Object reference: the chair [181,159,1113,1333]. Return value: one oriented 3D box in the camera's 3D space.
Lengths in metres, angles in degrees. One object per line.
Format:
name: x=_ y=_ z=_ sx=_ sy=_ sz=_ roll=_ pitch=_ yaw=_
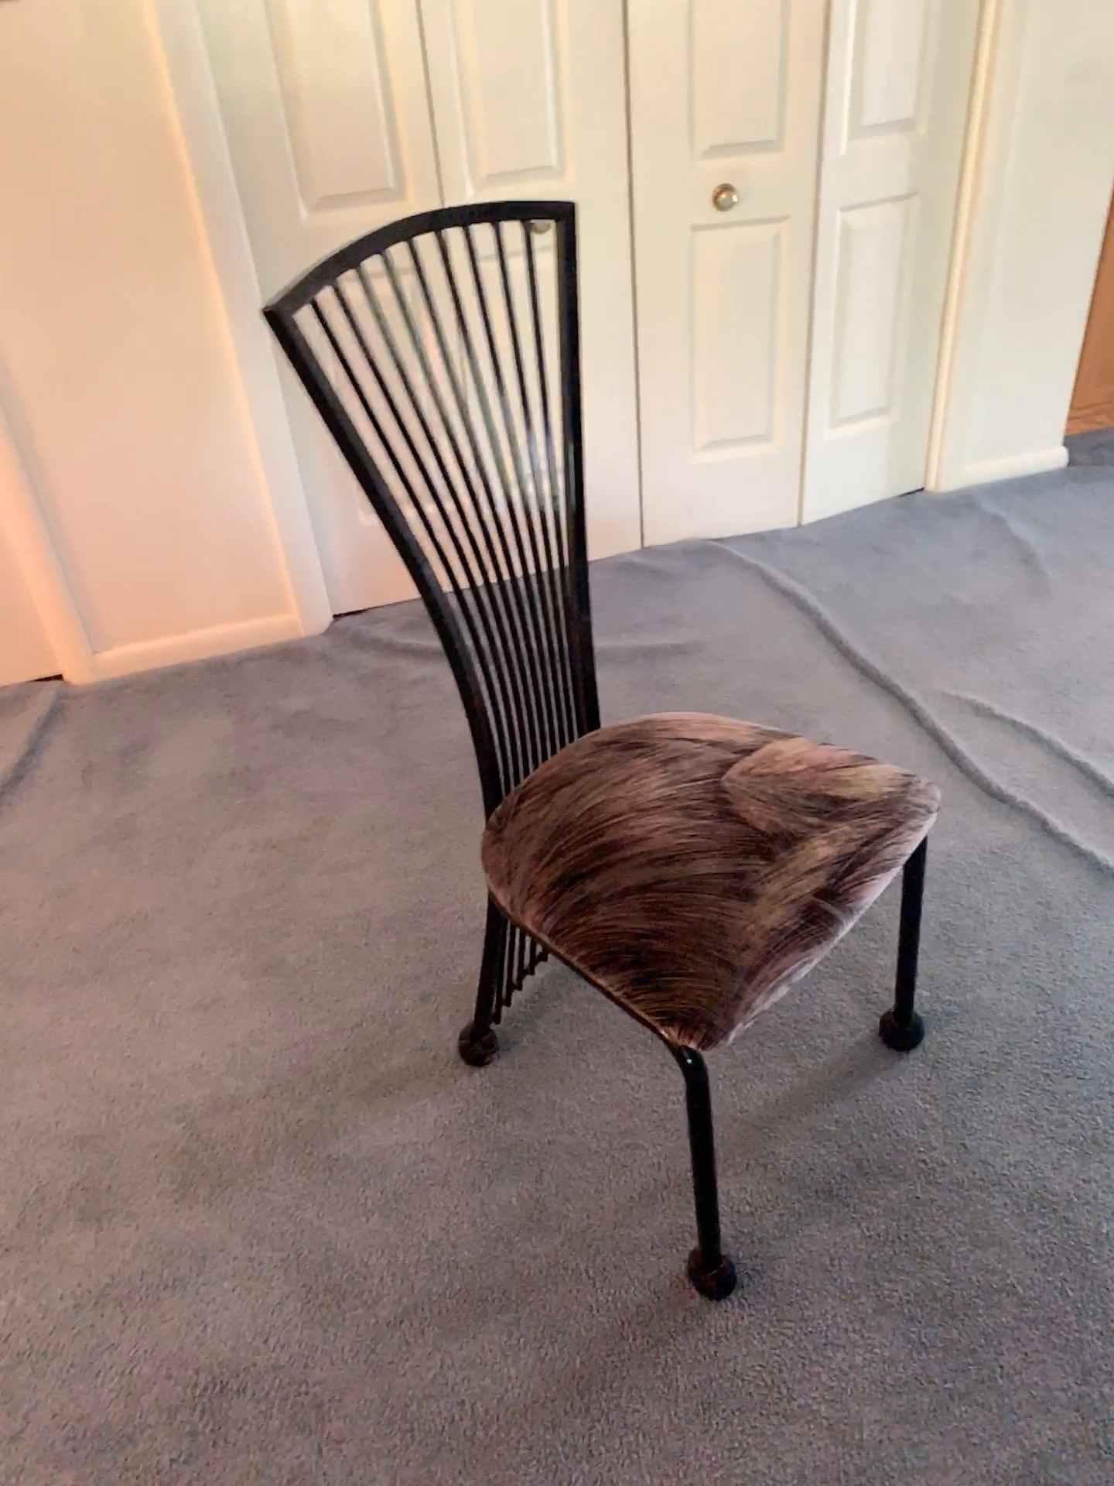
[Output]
chair: x=0.109 y=-0.005 z=1.178 sx=0.541 sy=0.974 sz=0.512 roll=23 pitch=44 yaw=33
